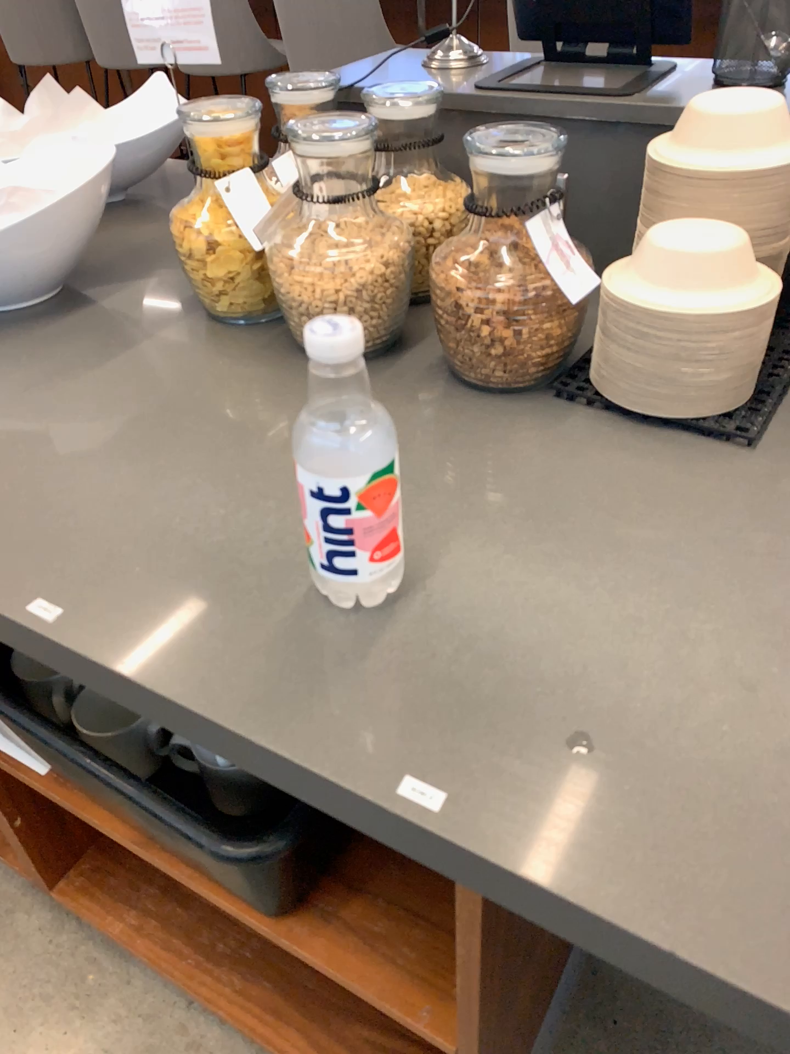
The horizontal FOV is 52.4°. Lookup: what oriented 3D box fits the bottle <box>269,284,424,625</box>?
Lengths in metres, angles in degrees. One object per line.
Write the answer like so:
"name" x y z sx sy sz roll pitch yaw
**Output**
"bottle" -0.027 -0.040 0.509 0.070 0.199 0.070 -2 38 2
